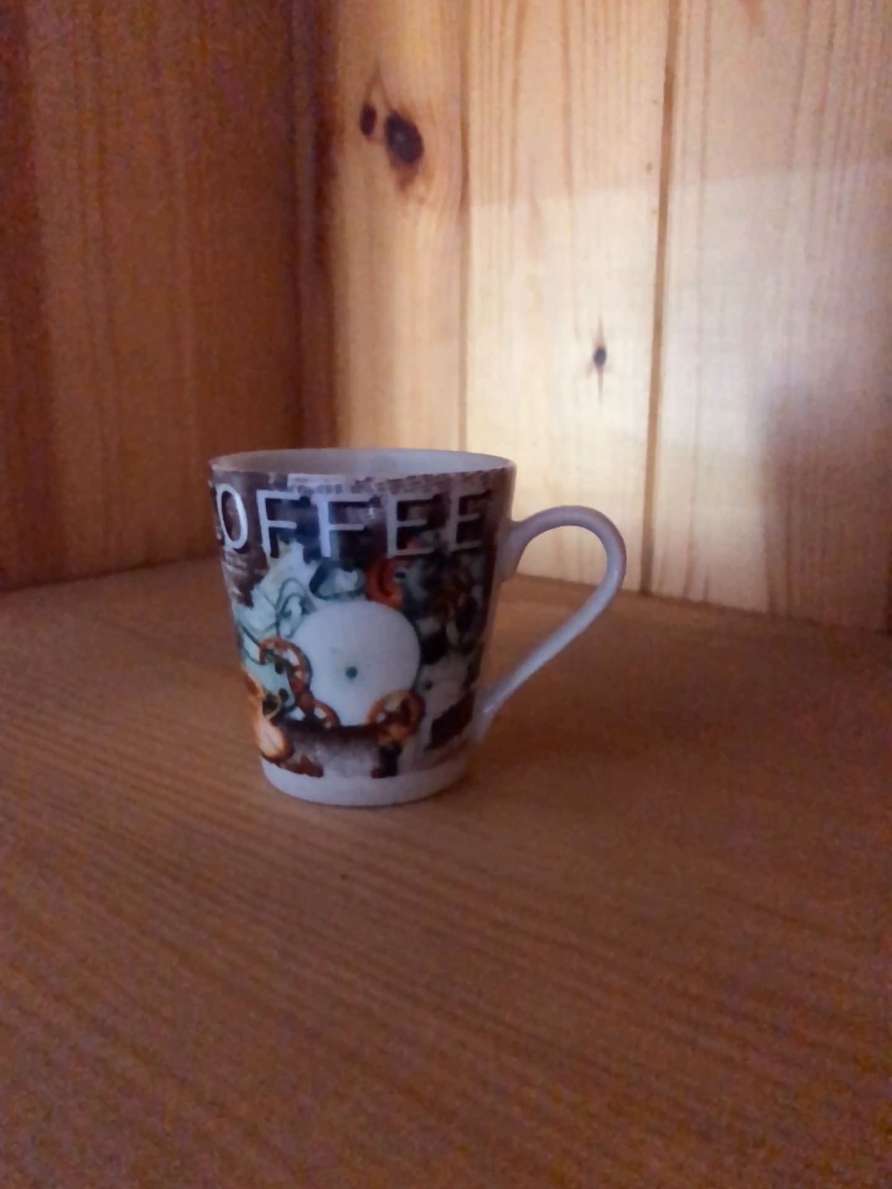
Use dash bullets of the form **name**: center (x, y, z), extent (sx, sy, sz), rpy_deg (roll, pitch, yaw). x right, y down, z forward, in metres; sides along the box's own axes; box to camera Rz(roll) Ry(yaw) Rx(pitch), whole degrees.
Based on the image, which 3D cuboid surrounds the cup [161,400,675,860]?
- **cup**: center (-0.002, -0.001, 0.195), extent (0.080, 0.070, 0.060), rpy_deg (5, 13, 20)
